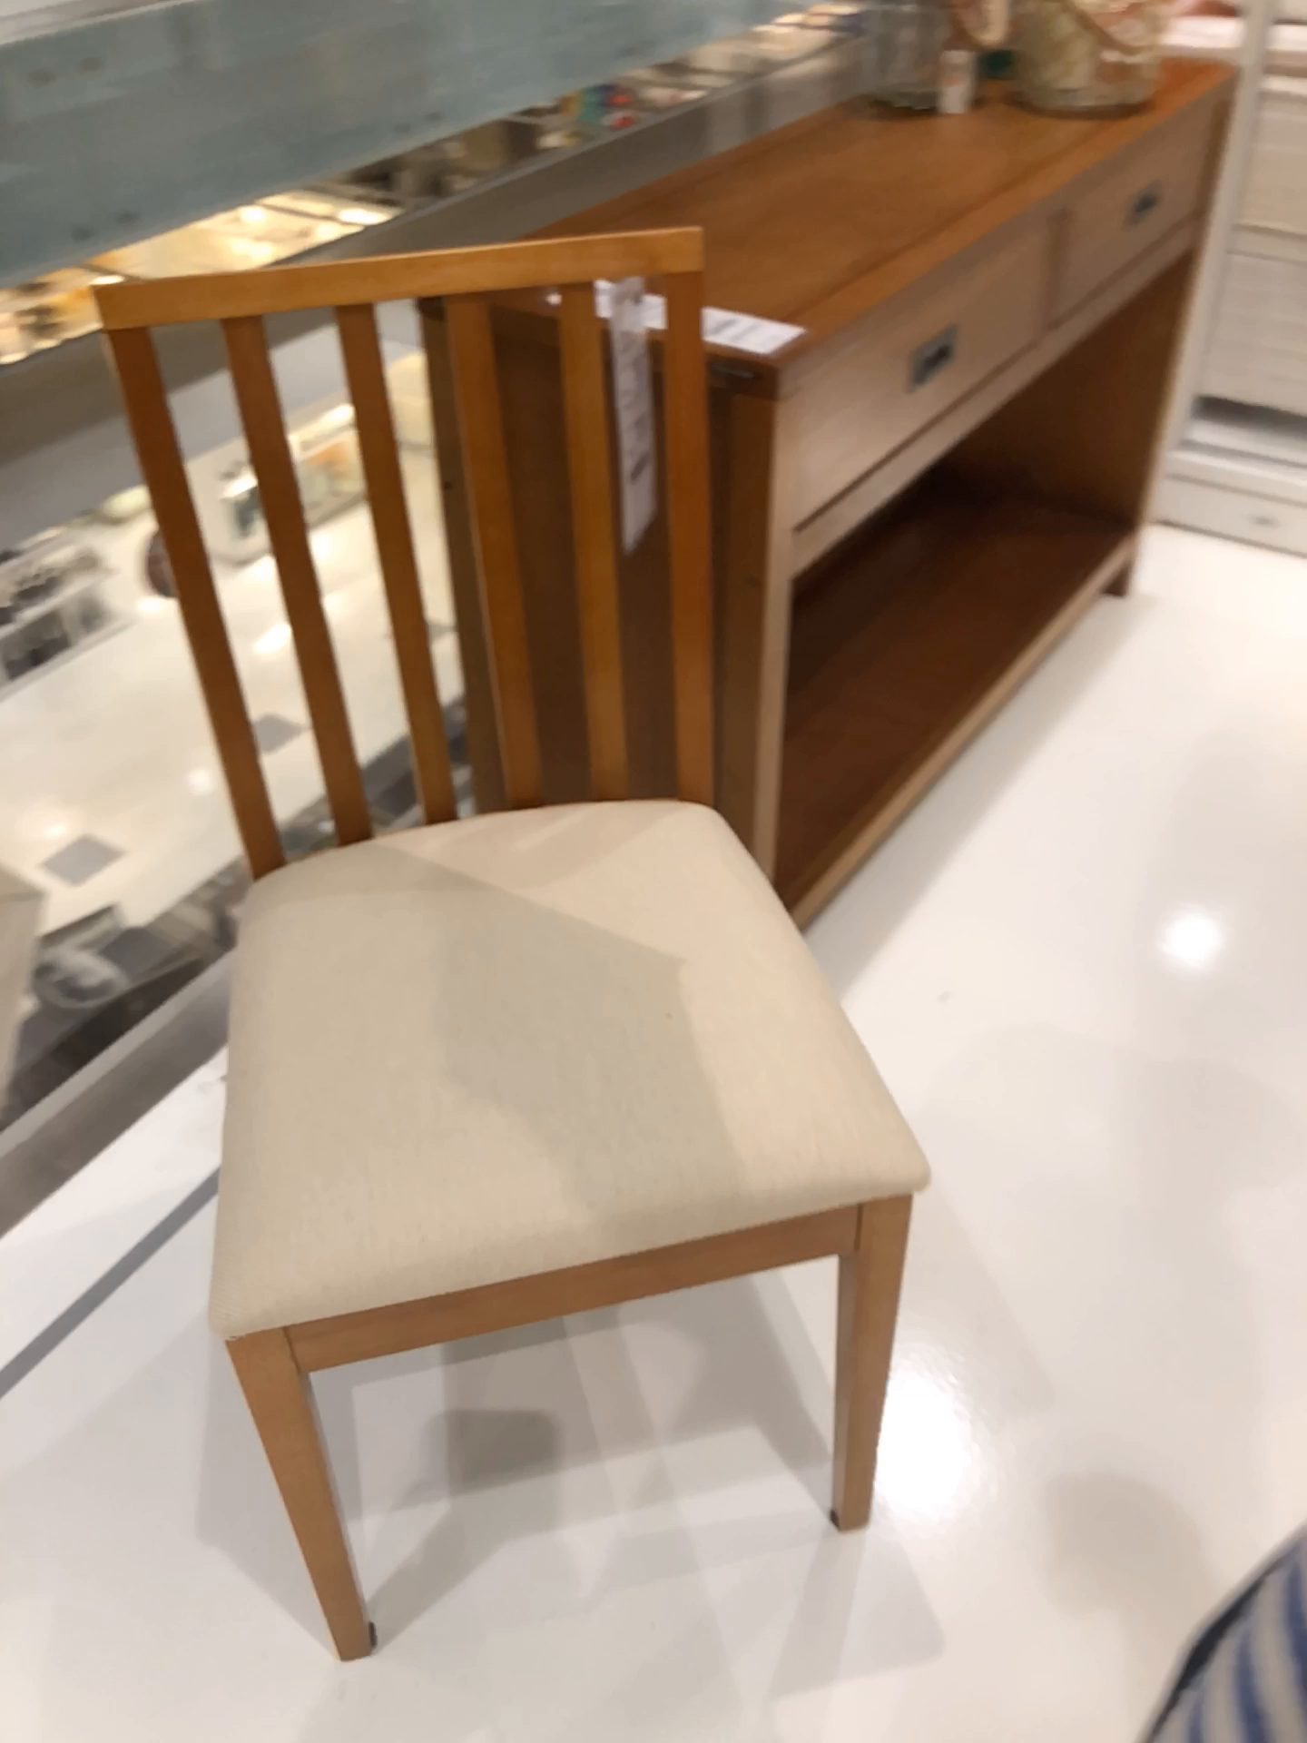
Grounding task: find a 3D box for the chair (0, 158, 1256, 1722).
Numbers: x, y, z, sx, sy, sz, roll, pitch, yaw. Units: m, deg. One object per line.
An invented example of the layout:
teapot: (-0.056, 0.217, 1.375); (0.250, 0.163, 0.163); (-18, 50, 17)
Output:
chair: (-0.084, 0.051, 0.998); (0.540, 0.833, 0.554); (-10, 41, -11)
